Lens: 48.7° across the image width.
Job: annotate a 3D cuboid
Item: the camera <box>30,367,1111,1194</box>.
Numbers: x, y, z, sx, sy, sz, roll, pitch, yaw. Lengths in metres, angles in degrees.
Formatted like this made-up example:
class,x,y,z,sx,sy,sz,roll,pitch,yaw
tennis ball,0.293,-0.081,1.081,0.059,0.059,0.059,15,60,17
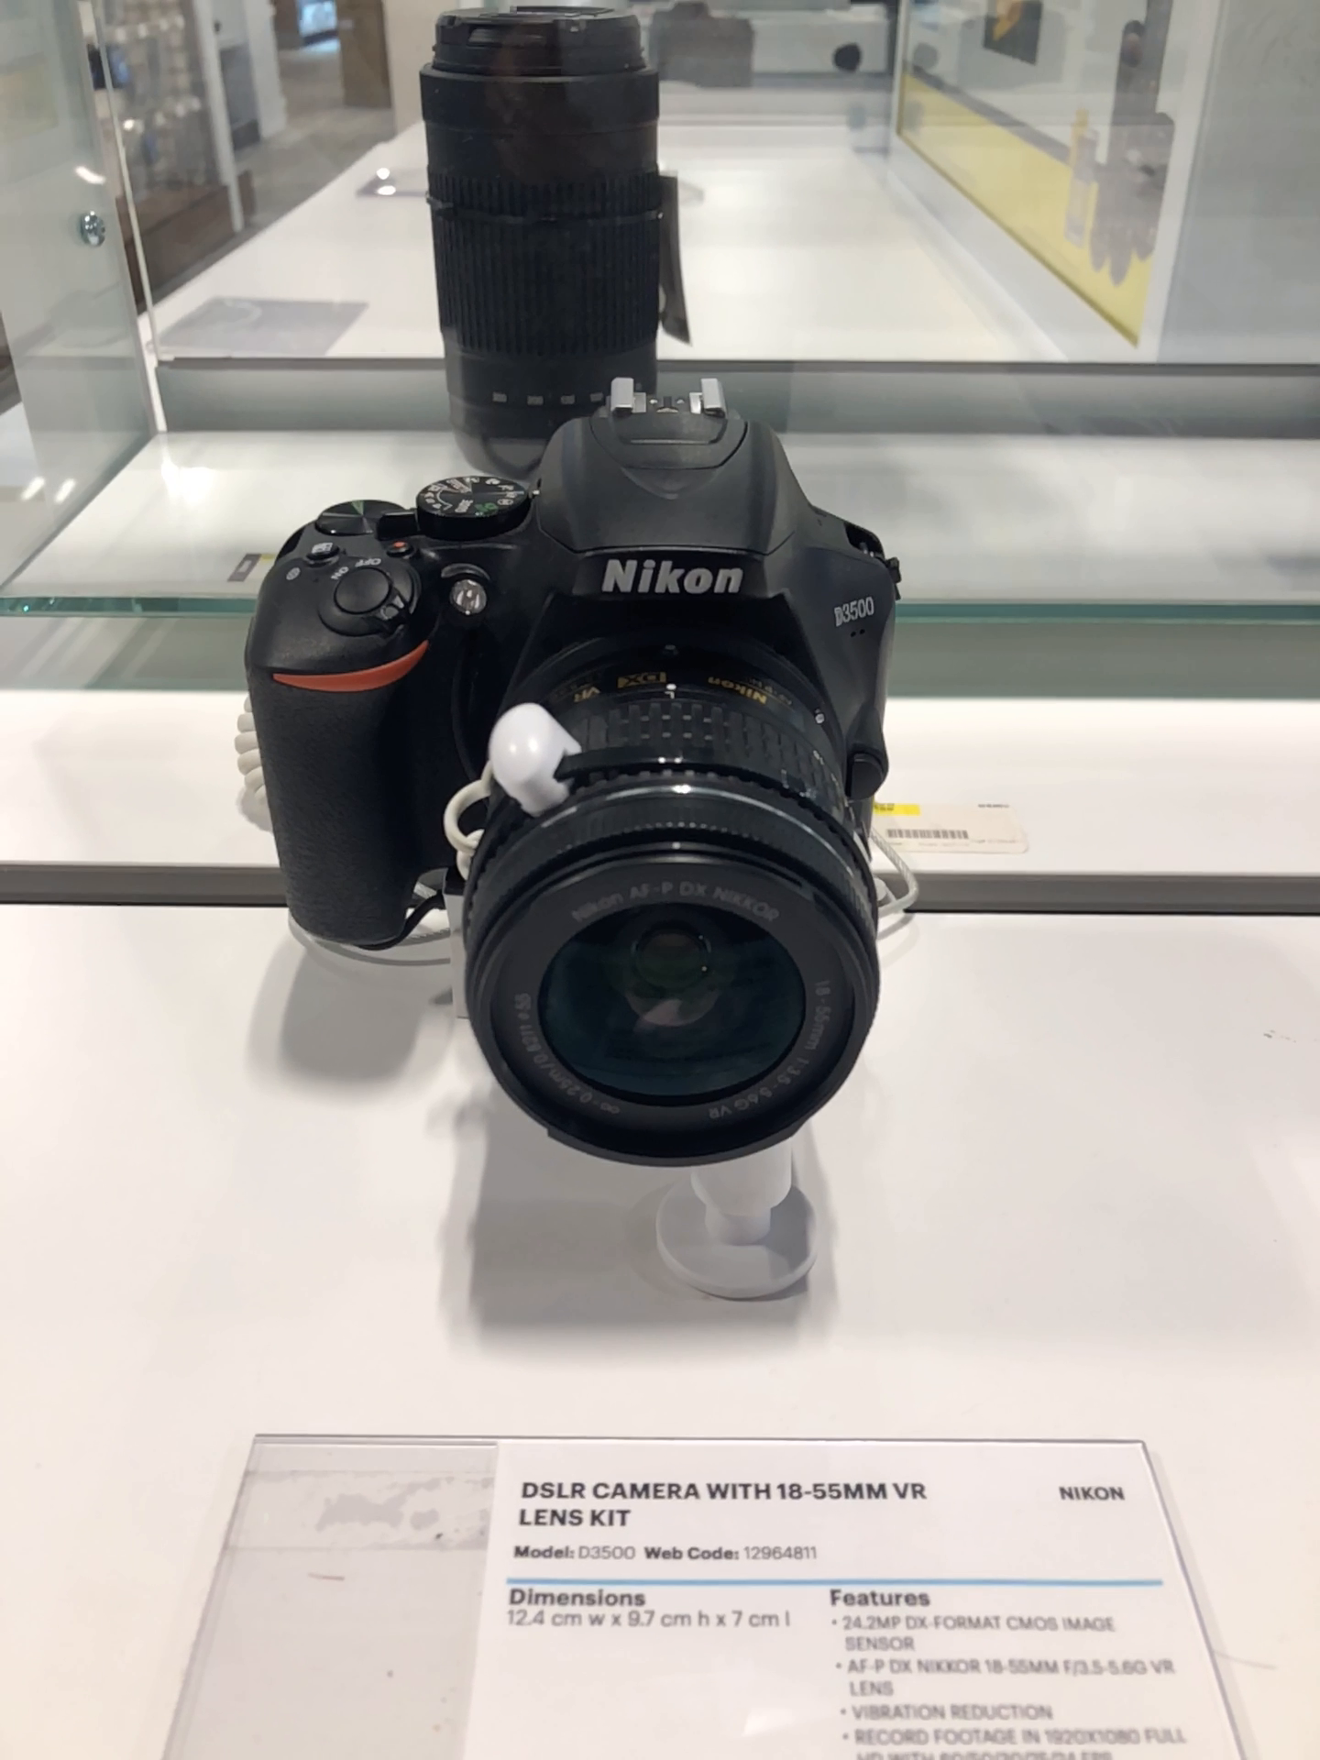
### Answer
class,x,y,z,sx,sy,sz,roll,pitch,yaw
camera,-0.012,-0.027,0.256,0.131,0.089,0.131,-1,33,-1
